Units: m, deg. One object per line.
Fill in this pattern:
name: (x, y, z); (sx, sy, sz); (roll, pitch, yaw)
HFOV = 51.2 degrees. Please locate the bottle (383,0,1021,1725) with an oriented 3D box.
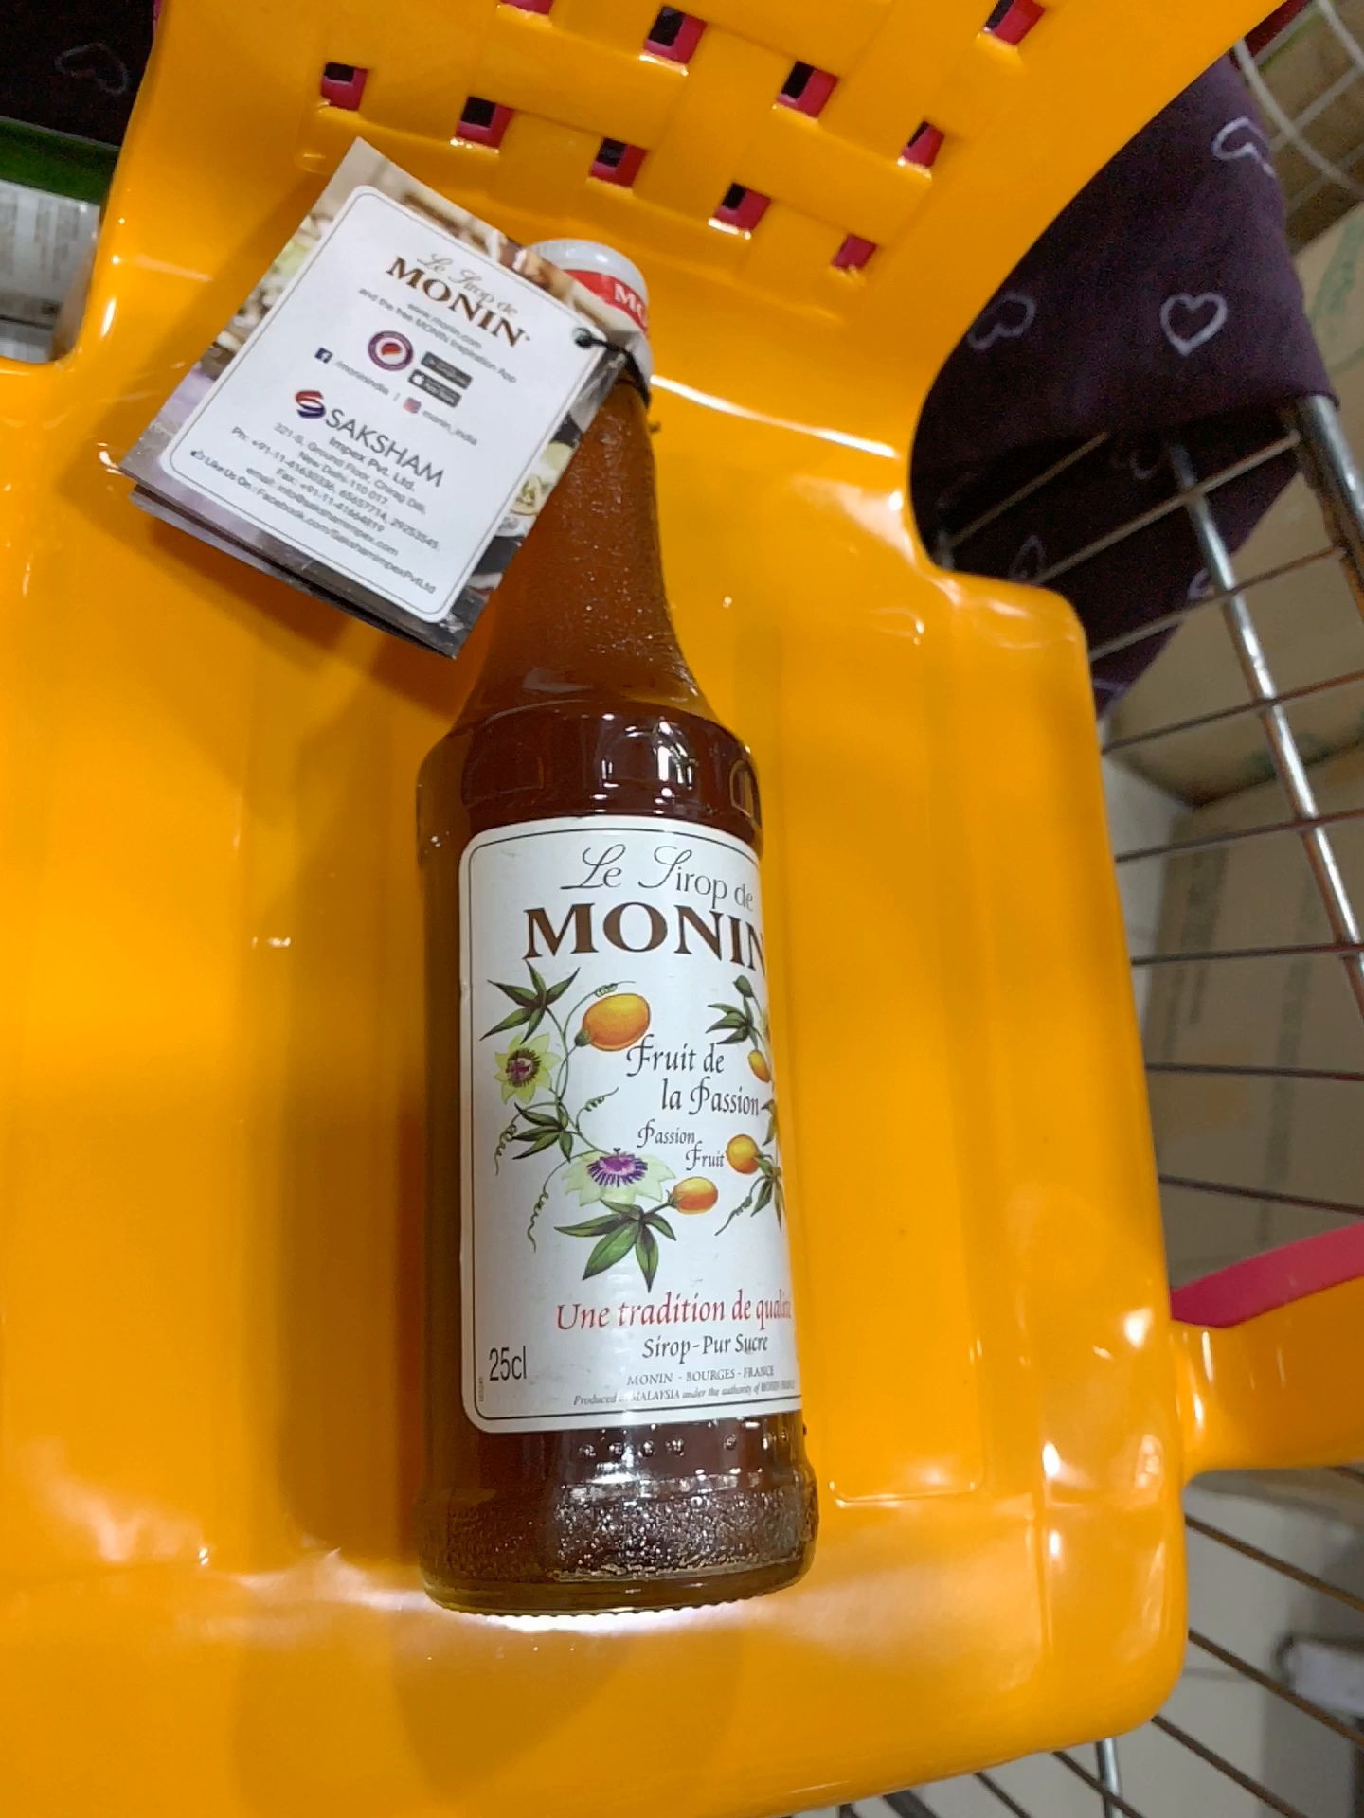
bottle: (-0.003, -0.014, 0.210); (0.060, 0.060, 0.220); (6, 72, -25)
